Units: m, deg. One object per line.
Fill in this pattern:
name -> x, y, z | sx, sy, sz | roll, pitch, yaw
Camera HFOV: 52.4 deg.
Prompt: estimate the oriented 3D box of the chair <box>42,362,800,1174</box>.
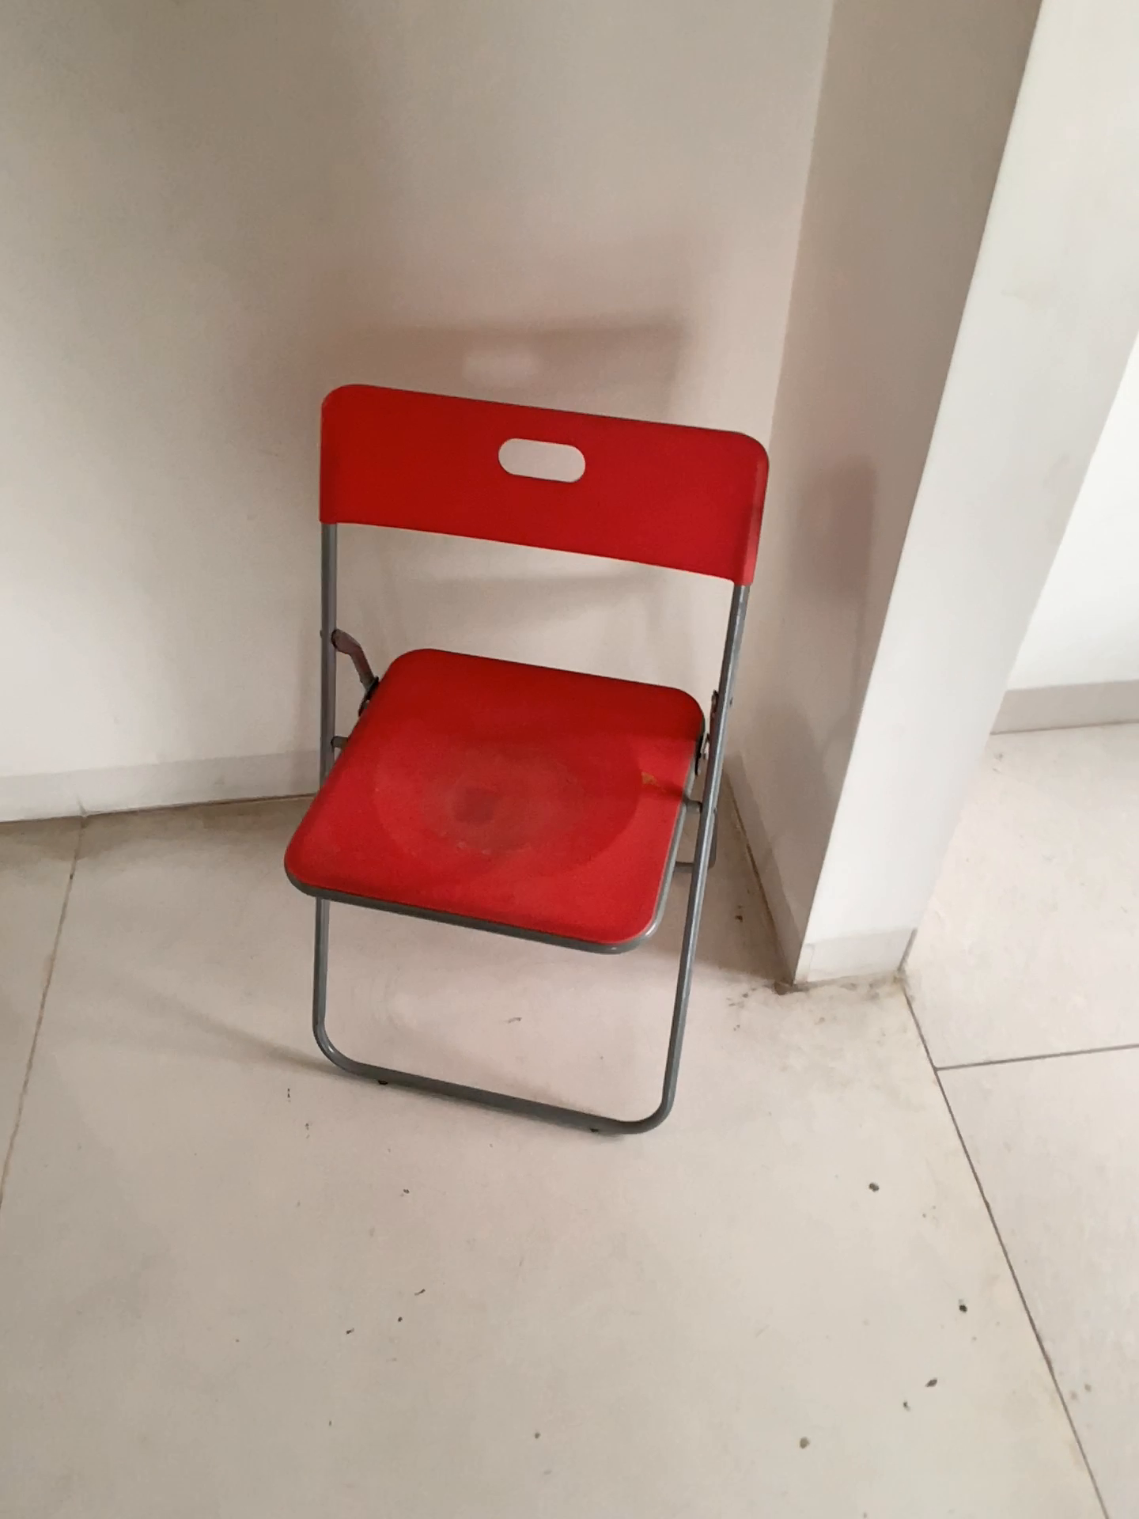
chair -> -0.089, 0.010, 1.227 | 0.530, 0.608, 0.502 | 10, 46, 9
